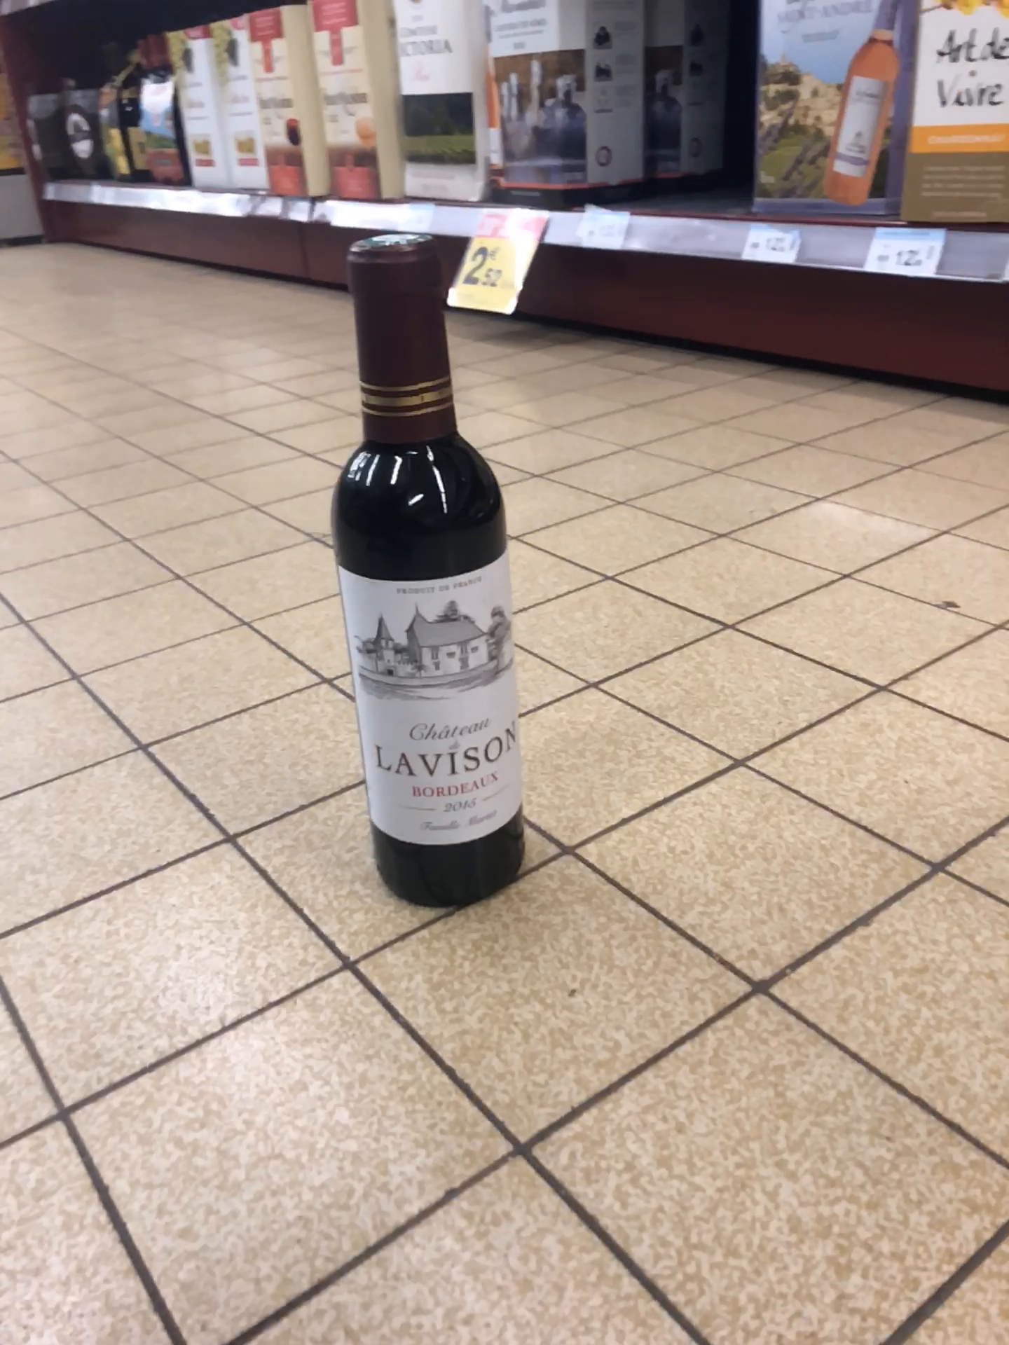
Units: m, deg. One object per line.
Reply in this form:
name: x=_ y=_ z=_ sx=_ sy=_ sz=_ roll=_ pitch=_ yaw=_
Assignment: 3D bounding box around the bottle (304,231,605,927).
bottle: x=-0.013 y=-0.028 z=0.378 sx=0.070 sy=0.219 sz=0.060 roll=-12 pitch=27 yaw=-16
